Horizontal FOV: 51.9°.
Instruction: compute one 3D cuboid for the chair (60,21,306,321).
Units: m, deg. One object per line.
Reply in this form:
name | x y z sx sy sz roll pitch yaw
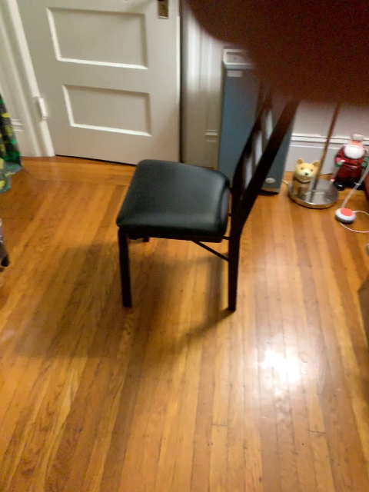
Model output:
chair | 0.006 -0.220 1.320 0.550 0.865 0.493 4 43 3
